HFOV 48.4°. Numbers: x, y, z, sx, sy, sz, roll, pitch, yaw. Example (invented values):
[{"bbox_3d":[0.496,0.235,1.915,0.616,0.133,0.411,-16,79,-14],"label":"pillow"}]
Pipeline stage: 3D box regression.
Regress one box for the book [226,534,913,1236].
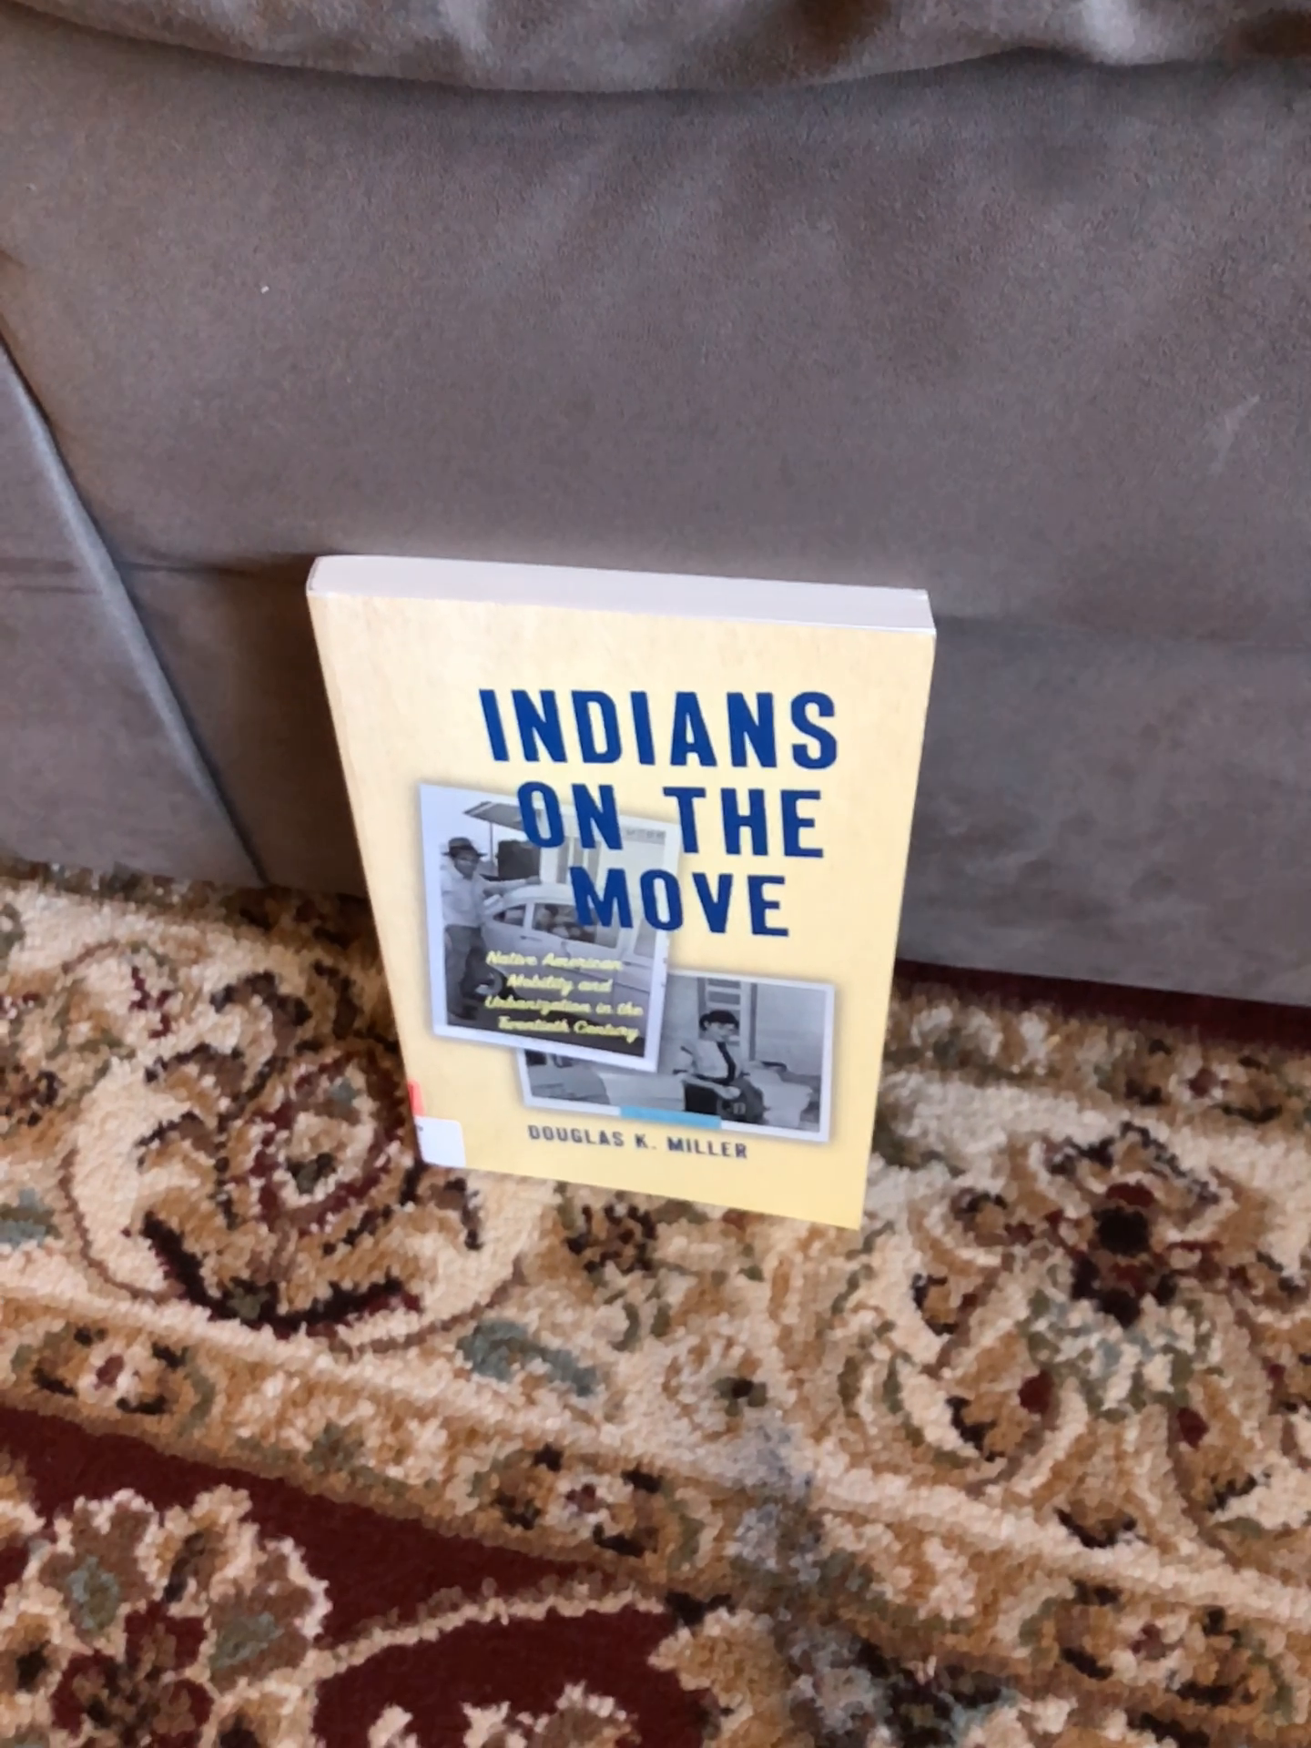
[{"bbox_3d":[-0.015,0.016,0.422,0.160,0.230,0.030,6,44,11],"label":"book"}]
